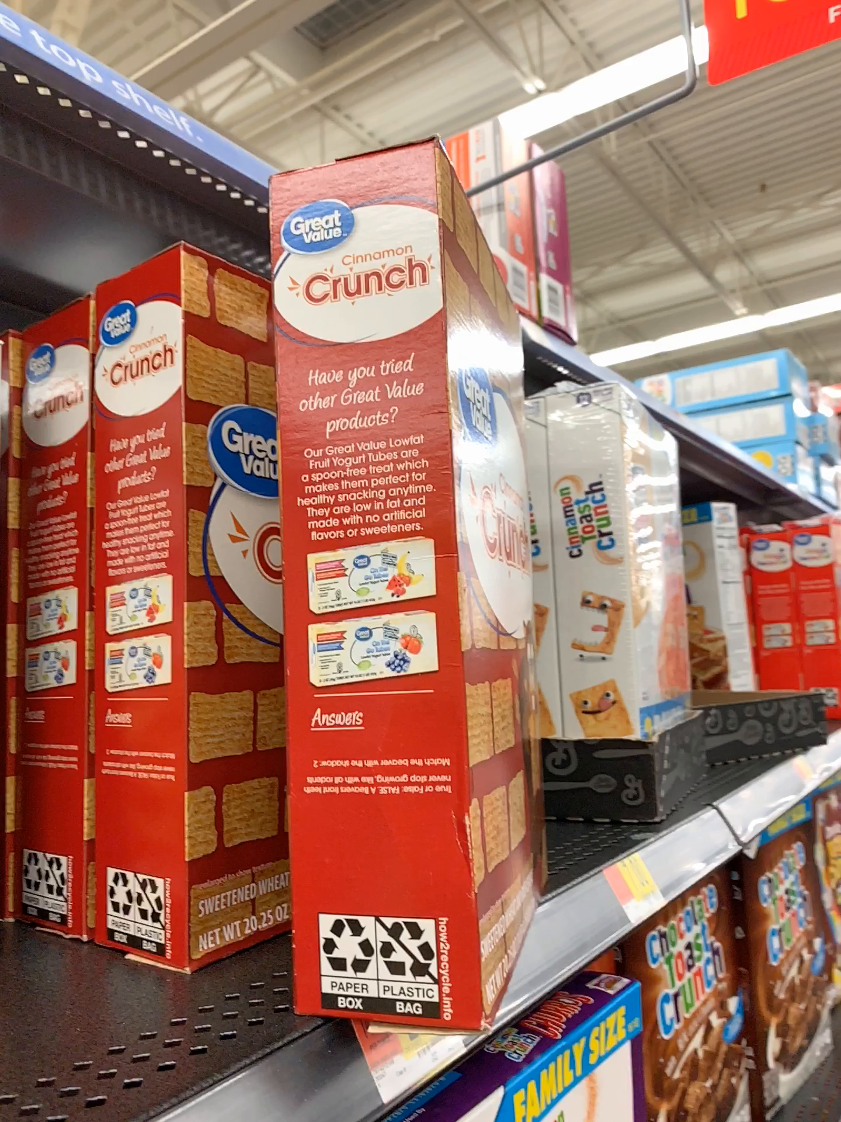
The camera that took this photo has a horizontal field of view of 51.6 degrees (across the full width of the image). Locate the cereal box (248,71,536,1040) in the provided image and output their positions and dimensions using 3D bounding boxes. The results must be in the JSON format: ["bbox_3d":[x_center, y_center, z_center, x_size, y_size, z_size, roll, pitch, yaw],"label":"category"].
[{"bbox_3d":[-0.003,-0.001,0.392,0.070,0.331,0.190,-5,-8,12],"label":"cereal box"}]
